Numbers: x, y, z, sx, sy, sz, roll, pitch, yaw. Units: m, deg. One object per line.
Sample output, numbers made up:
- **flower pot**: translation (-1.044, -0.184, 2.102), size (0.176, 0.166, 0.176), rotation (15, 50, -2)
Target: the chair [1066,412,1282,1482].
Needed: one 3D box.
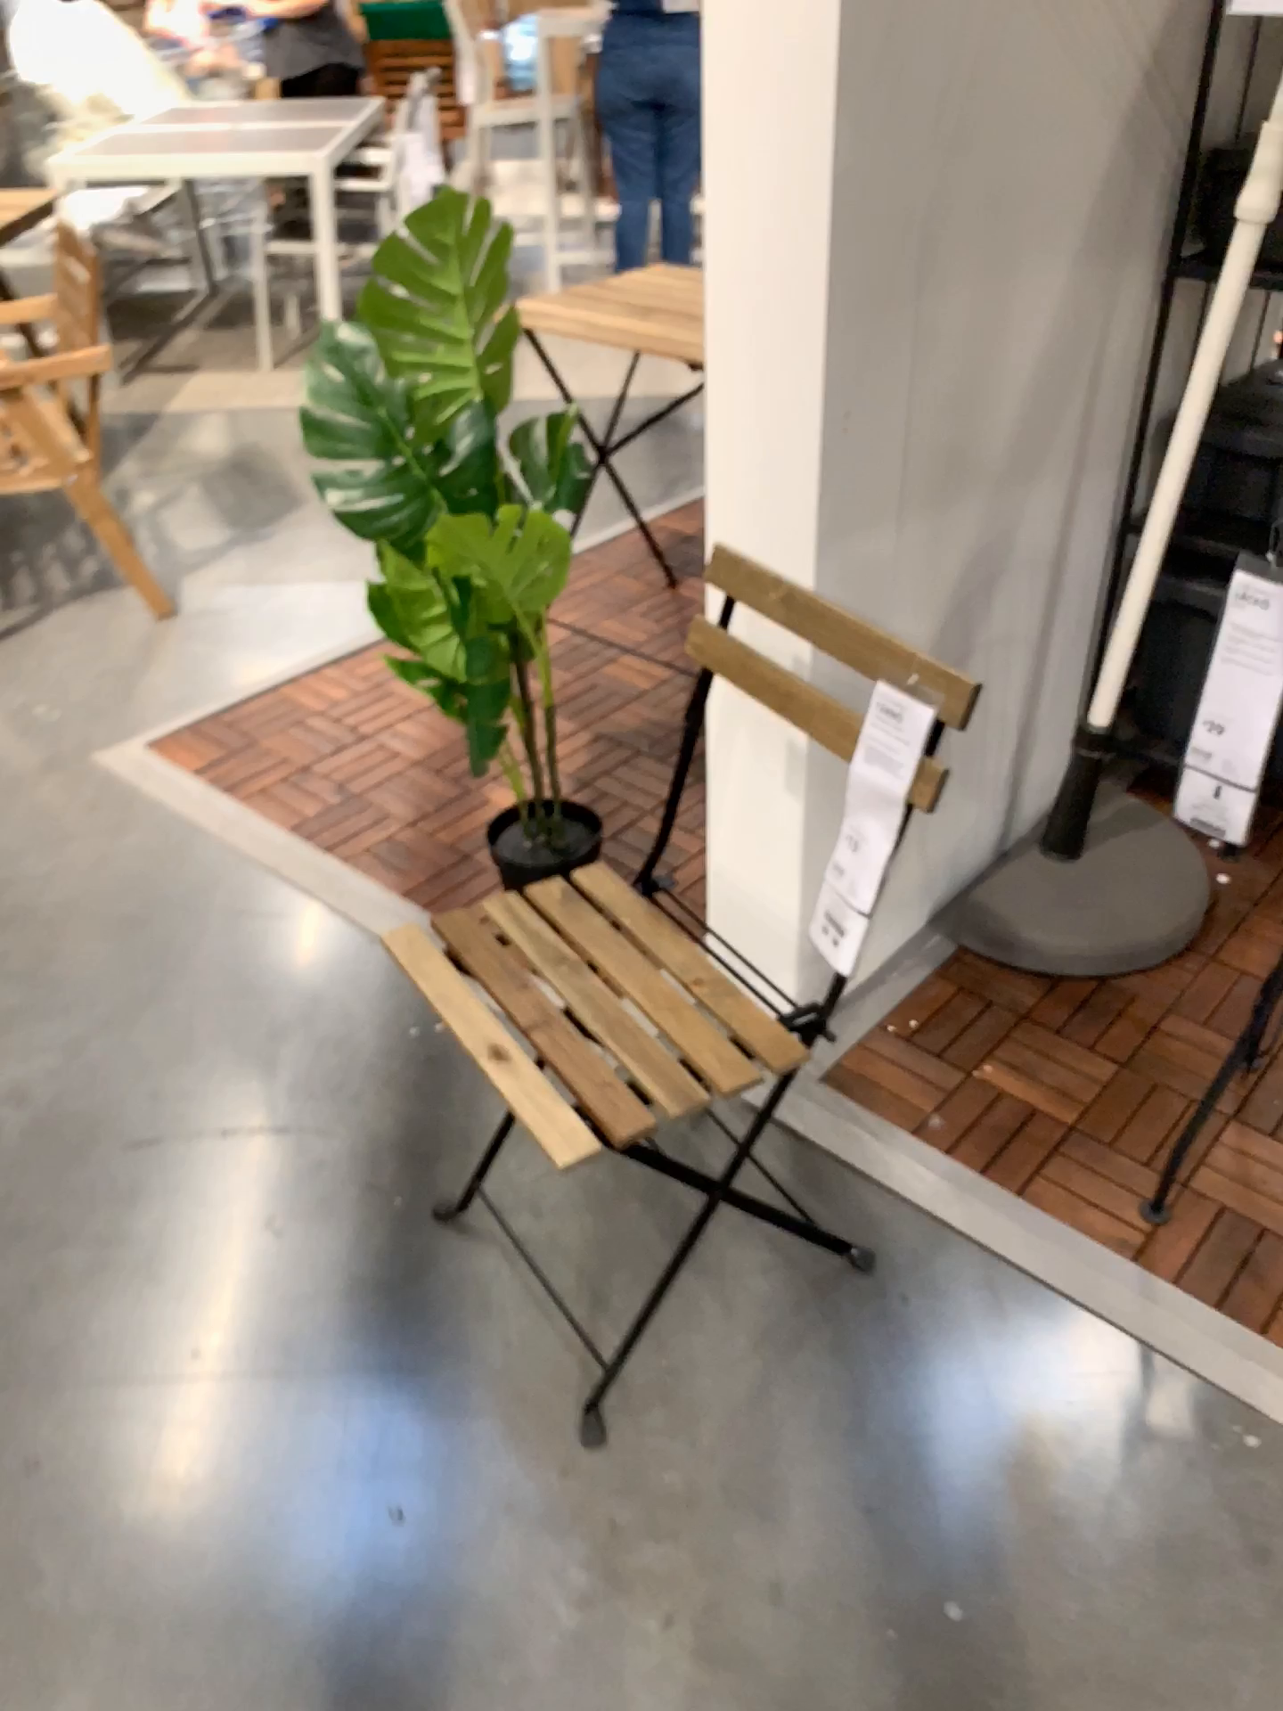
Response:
- **chair**: translation (0.838, 0.073, 1.320), size (0.558, 0.821, 0.399), rotation (26, 43, 34)

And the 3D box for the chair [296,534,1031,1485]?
- **chair**: translation (0.014, 0.139, 1.329), size (0.477, 0.721, 0.410), rotation (-20, 39, -25)

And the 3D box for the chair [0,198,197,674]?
- **chair**: translation (-1.464, -0.973, 3.020), size (0.607, 0.811, 0.641), rotation (-17, 37, -21)

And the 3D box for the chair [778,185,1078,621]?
- **chair**: translation (0.593, -1.010, 2.981), size (0.506, 0.811, 0.501), rotation (0, 35, 1)
